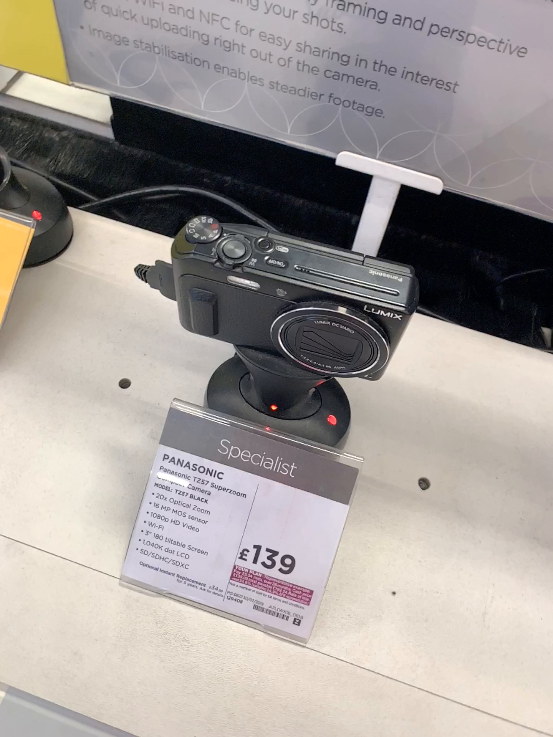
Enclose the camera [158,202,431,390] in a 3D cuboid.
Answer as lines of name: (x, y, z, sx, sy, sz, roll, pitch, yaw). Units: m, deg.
camera: (0.006, -0.031, 0.264, 0.111, 0.060, 0.030, 15, 60, 3)
